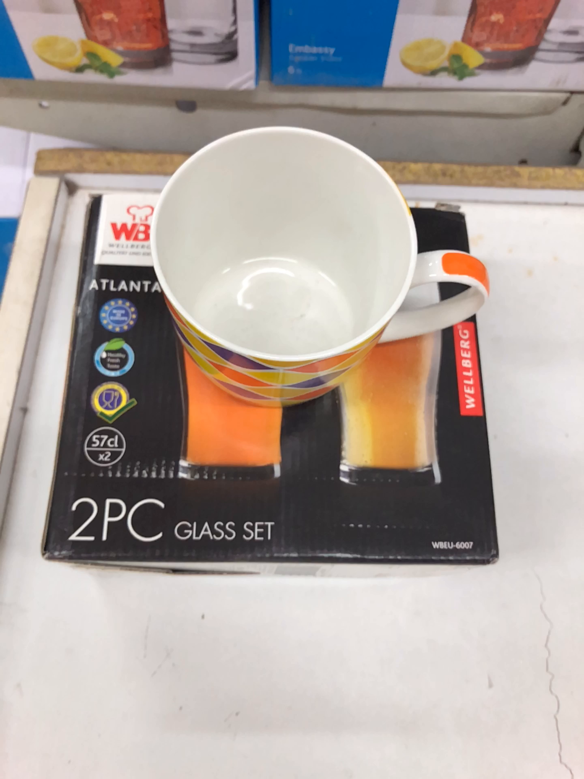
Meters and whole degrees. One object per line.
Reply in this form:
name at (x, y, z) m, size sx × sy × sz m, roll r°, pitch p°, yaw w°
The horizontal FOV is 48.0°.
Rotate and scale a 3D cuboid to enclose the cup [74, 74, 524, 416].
cup at (0.000, -0.048, 0.248) m, size 0.130 × 0.090 × 0.090 m, roll -1°, pitch 69°, yaw -2°
